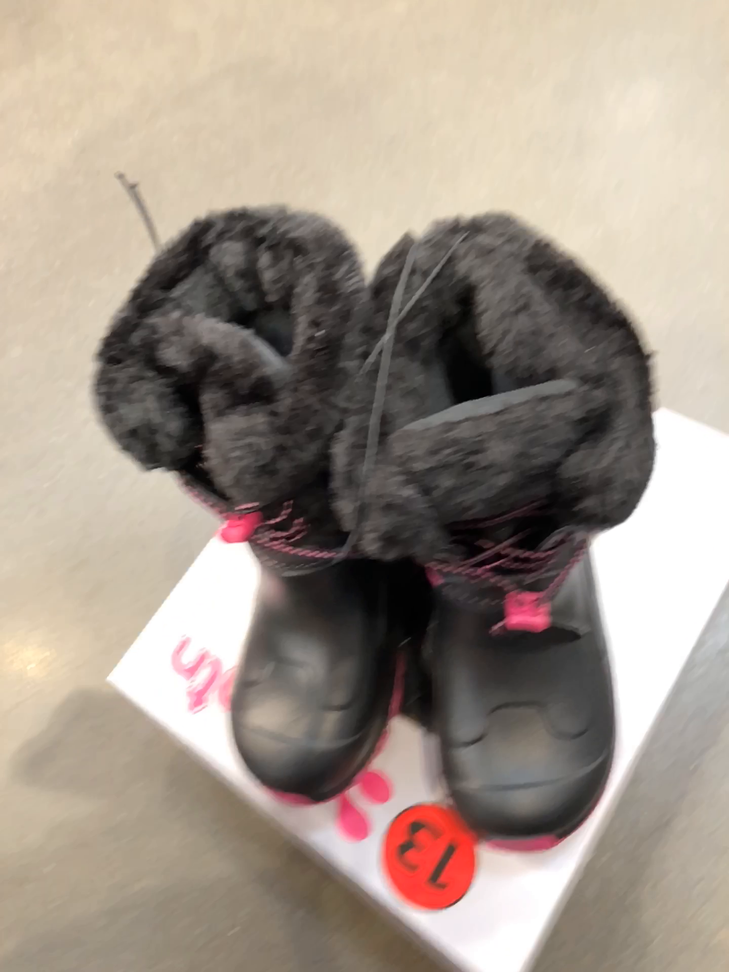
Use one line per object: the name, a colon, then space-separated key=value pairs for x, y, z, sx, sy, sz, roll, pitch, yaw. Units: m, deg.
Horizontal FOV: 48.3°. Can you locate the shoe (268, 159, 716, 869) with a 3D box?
shoe: x=0.062 y=0.036 z=0.349 sx=0.110 sy=0.229 sz=0.221 roll=-1 pitch=65 yaw=13

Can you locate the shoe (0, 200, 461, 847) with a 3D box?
shoe: x=-0.042 y=0.031 z=0.375 sx=0.110 sy=0.209 sz=0.221 roll=8 pitch=67 yaw=17
